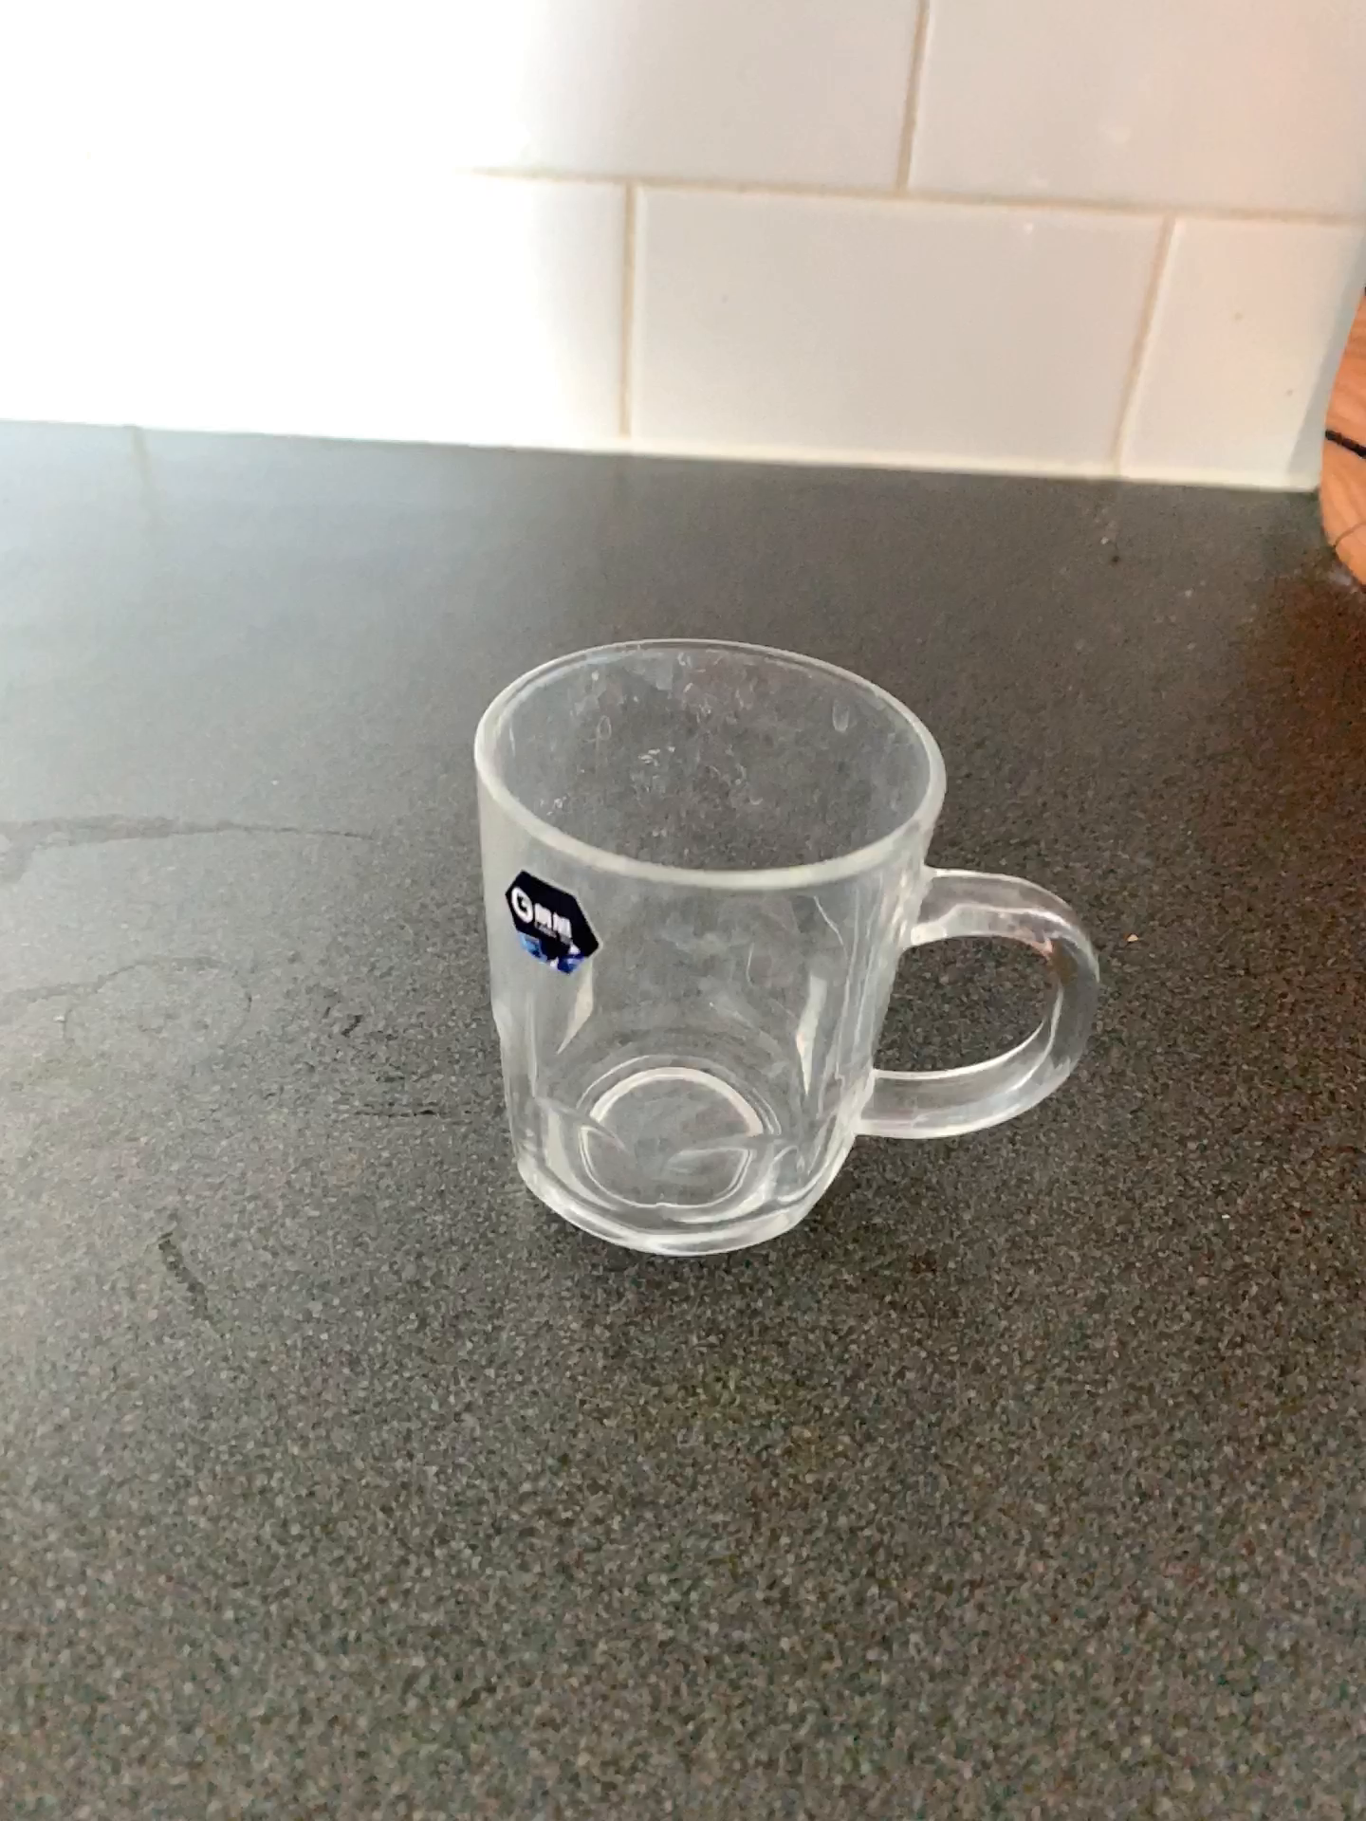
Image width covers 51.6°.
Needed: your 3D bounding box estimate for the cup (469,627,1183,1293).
[{"bbox_3d":[0.015,0.007,0.249,0.100,0.090,0.071,-1,36,-6],"label":"cup"}]
